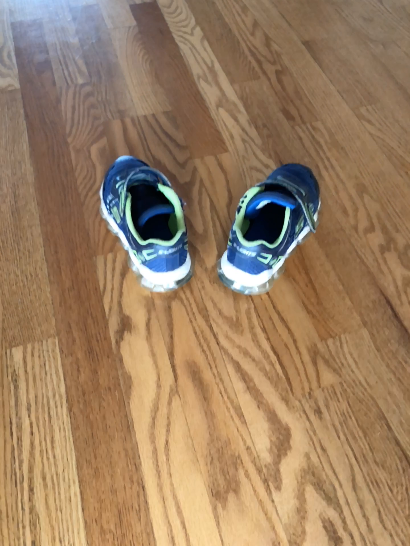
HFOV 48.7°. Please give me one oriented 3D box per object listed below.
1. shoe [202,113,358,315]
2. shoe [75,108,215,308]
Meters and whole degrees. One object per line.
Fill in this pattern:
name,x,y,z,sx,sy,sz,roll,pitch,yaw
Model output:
shoe,0.088,-0.075,0.526,0.093,0.087,0.213,24,59,13
shoe,-0.072,-0.081,0.527,0.093,0.095,0.203,-17,59,-13
